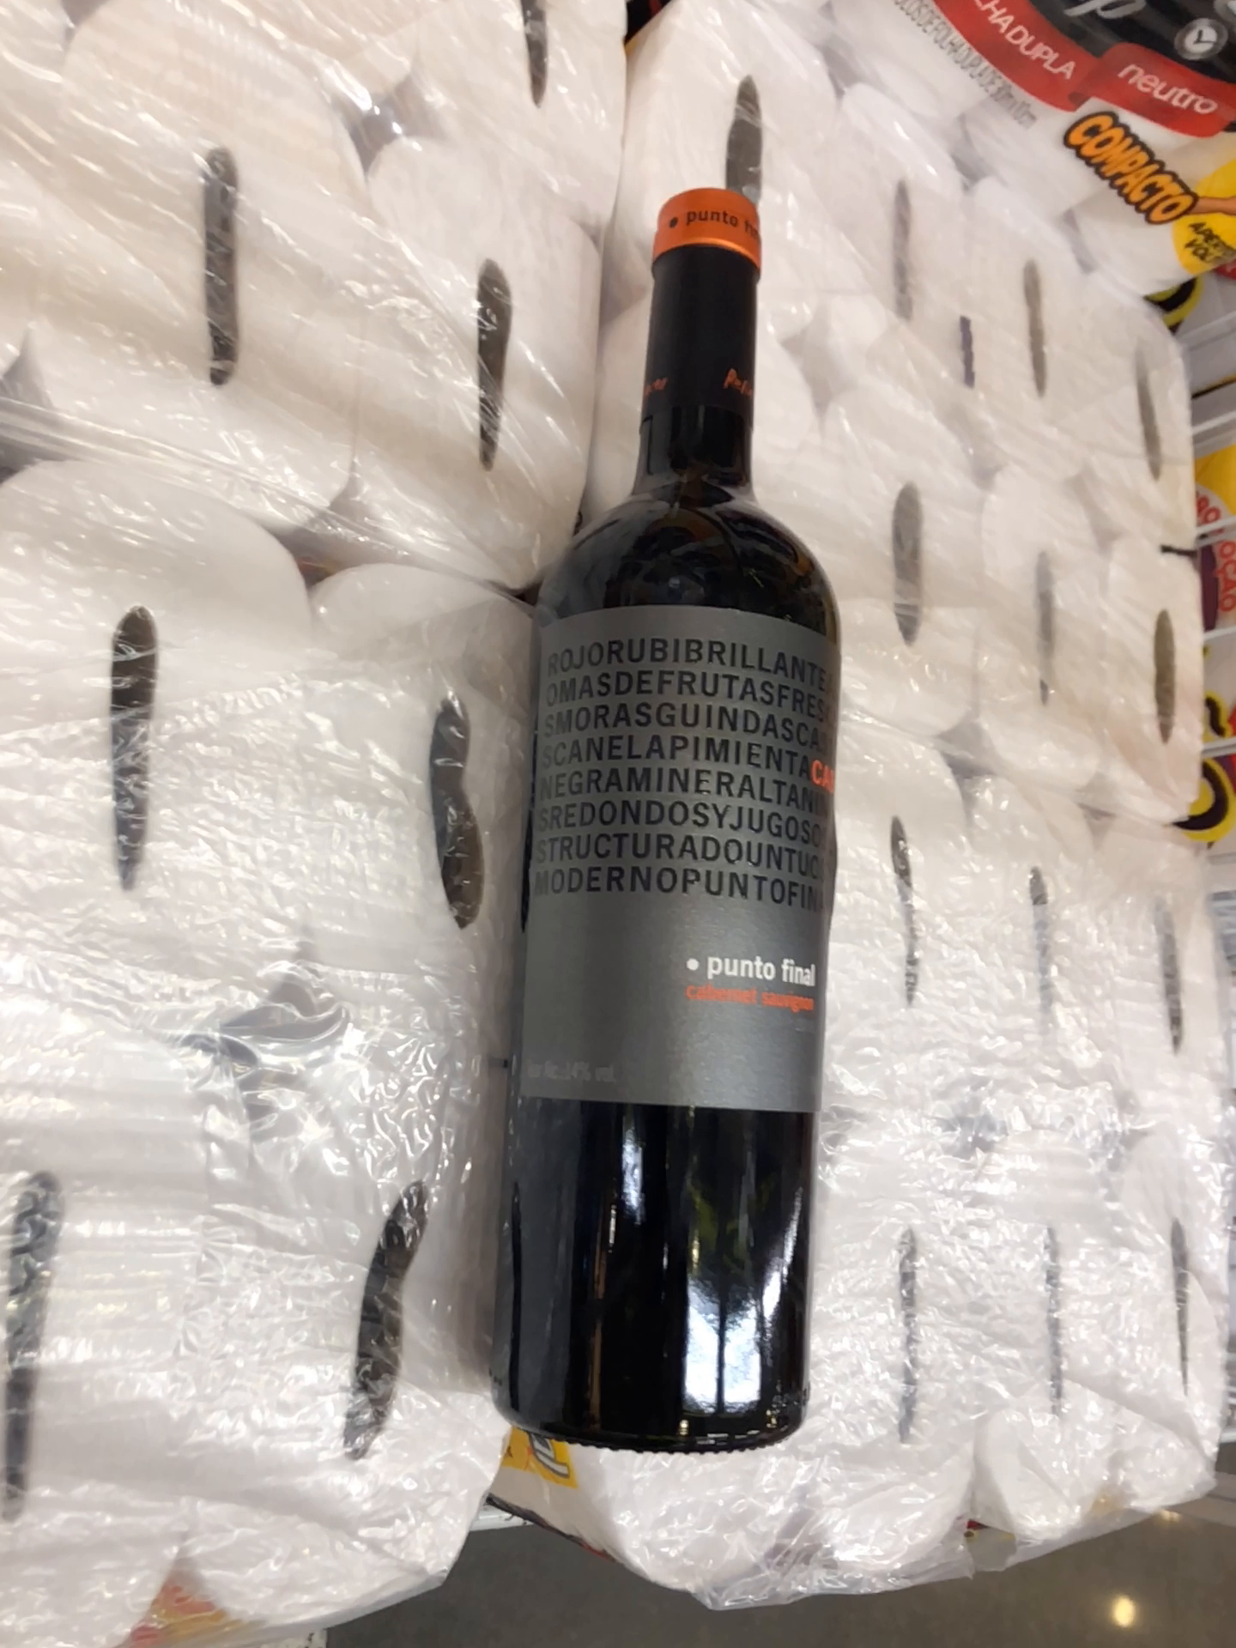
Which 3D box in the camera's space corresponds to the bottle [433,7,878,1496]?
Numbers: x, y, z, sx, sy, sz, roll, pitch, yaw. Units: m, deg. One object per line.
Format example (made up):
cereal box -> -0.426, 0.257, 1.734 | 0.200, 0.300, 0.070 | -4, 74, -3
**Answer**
bottle -> 0.013, -0.023, 0.318 | 0.070, 0.060, 0.310 | 12, 74, -37
